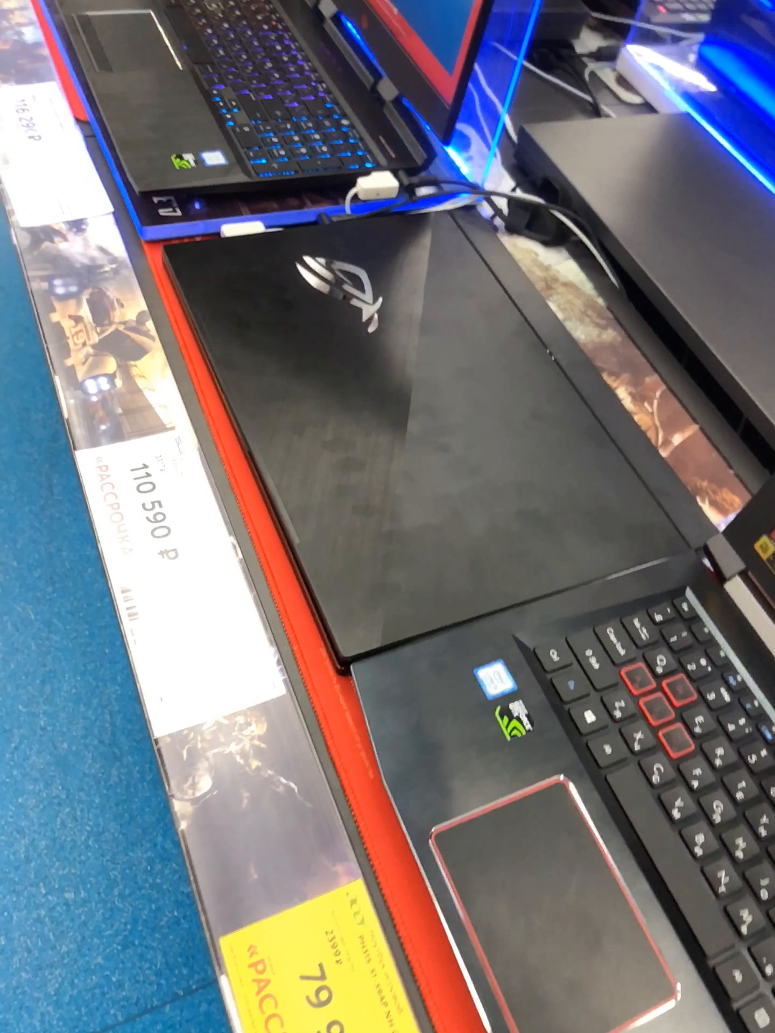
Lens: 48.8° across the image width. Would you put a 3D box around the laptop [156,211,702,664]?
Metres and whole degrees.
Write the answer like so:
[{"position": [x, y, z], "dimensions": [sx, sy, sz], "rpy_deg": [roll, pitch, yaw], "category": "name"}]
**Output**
[{"position": [0.014, -0.087, 0.581], "dimensions": [0.254, 0.006, 0.349], "rpy_deg": [-14, 58, -20], "category": "laptop"}]
